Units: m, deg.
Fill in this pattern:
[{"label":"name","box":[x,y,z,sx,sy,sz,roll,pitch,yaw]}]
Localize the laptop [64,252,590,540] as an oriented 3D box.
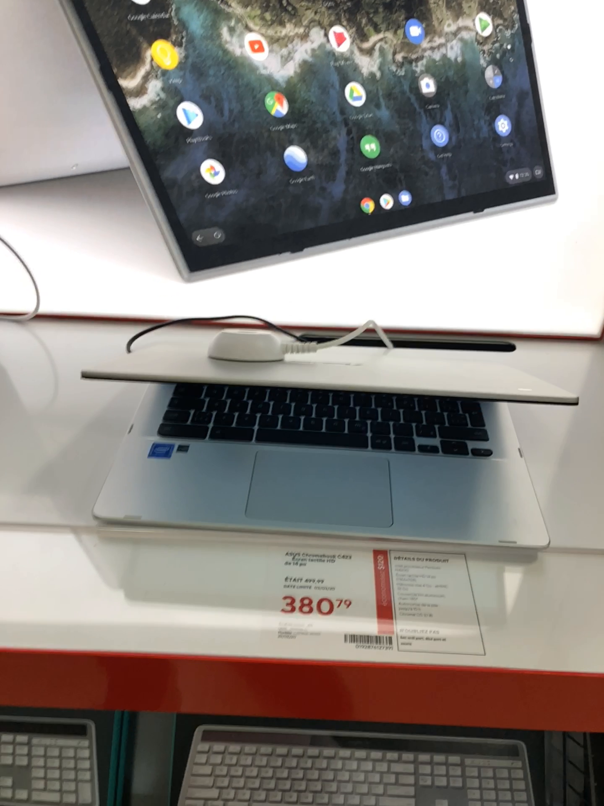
[{"label":"laptop","box":[0.019,-0.020,0.522,0.317,0.100,0.226,3,35,2]}]
